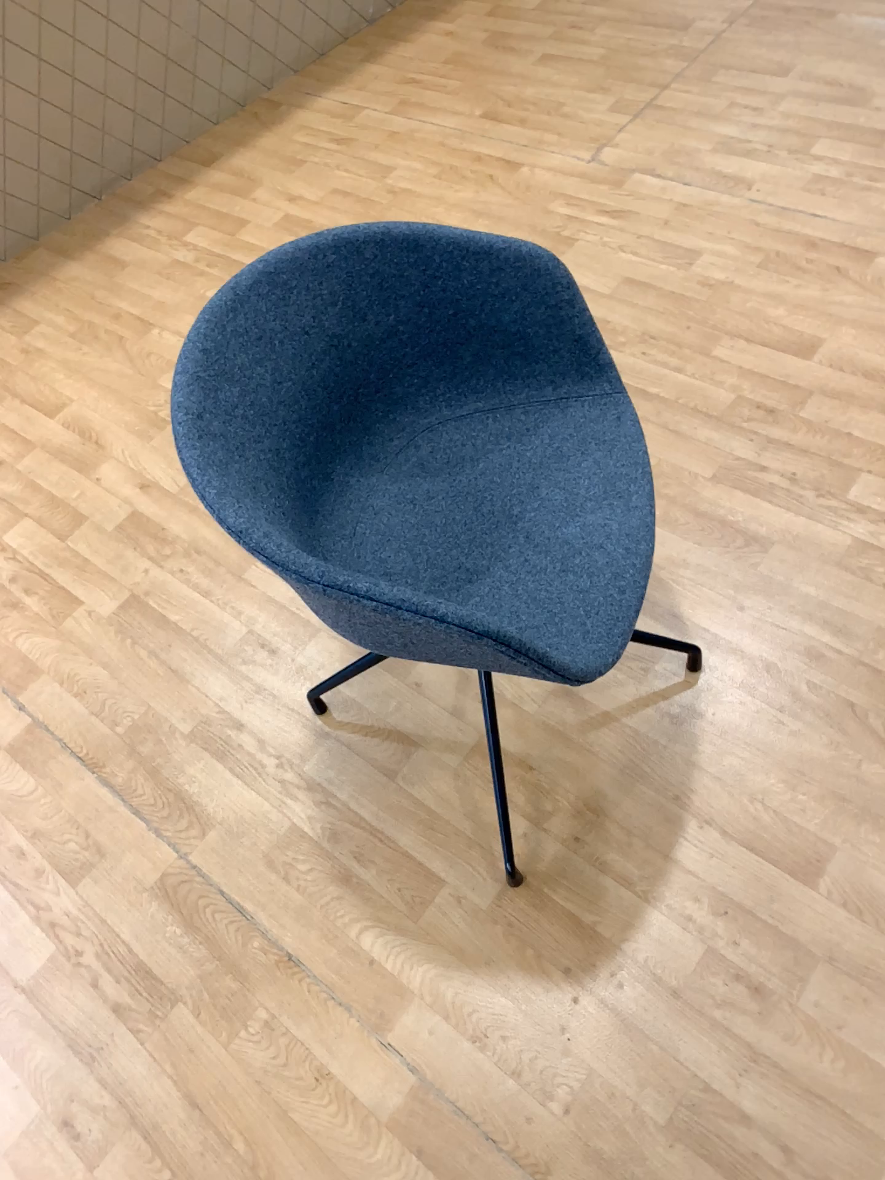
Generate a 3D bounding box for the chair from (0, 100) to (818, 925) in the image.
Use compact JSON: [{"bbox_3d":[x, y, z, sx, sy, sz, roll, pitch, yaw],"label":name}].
[{"bbox_3d":[0.048,-0.087,1.189,0.731,0.685,0.714,5,57,17],"label":"chair"}]
